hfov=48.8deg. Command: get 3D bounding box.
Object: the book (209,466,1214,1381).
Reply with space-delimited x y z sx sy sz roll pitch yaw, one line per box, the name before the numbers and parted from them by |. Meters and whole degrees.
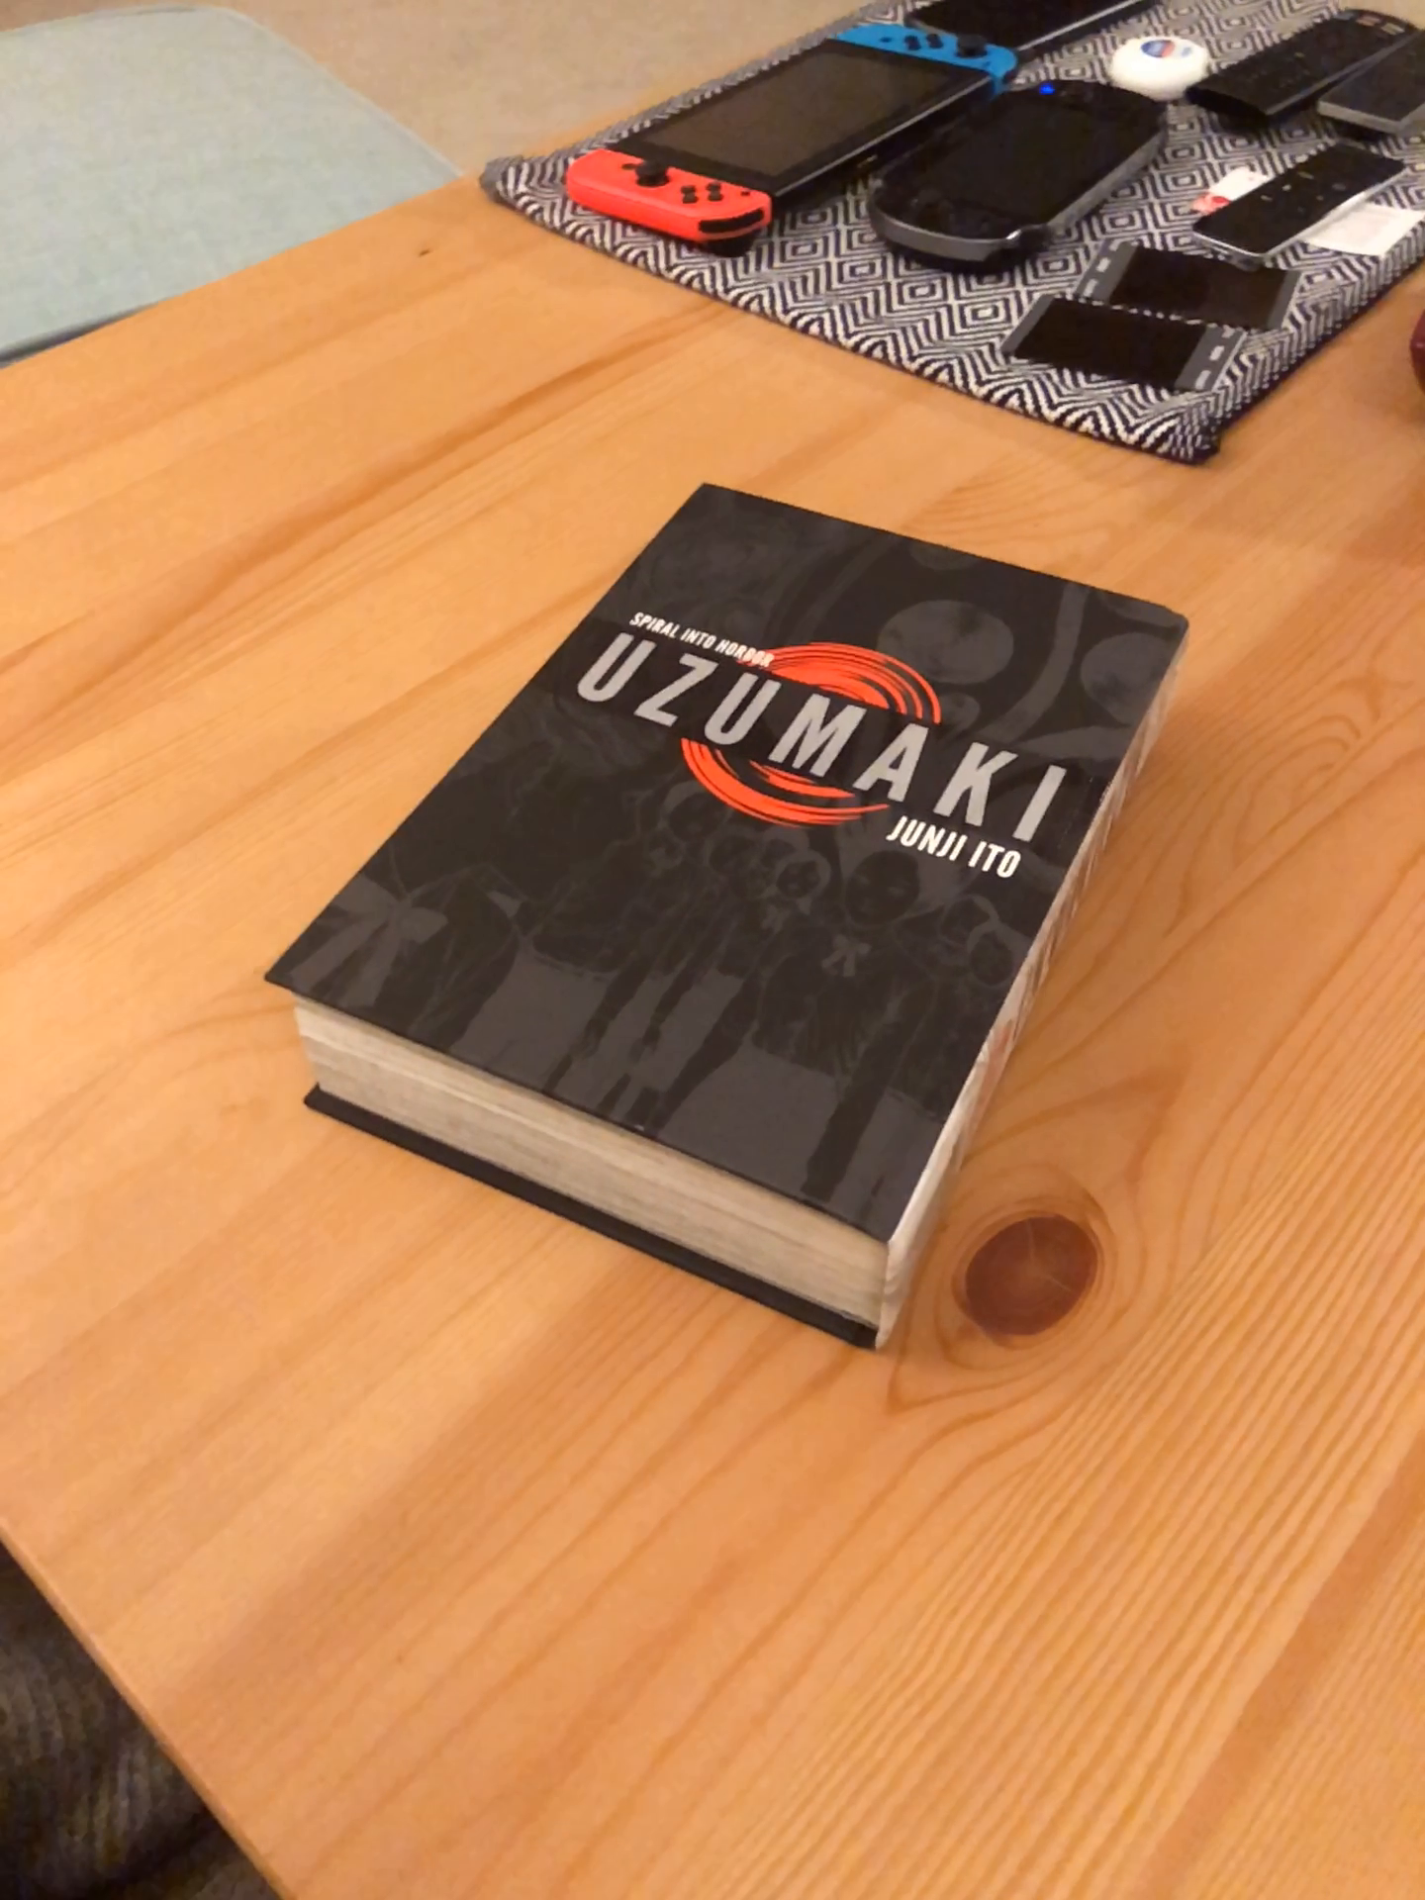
book | 0.011 -0.025 0.380 0.156 0.048 0.205 20 53 17
